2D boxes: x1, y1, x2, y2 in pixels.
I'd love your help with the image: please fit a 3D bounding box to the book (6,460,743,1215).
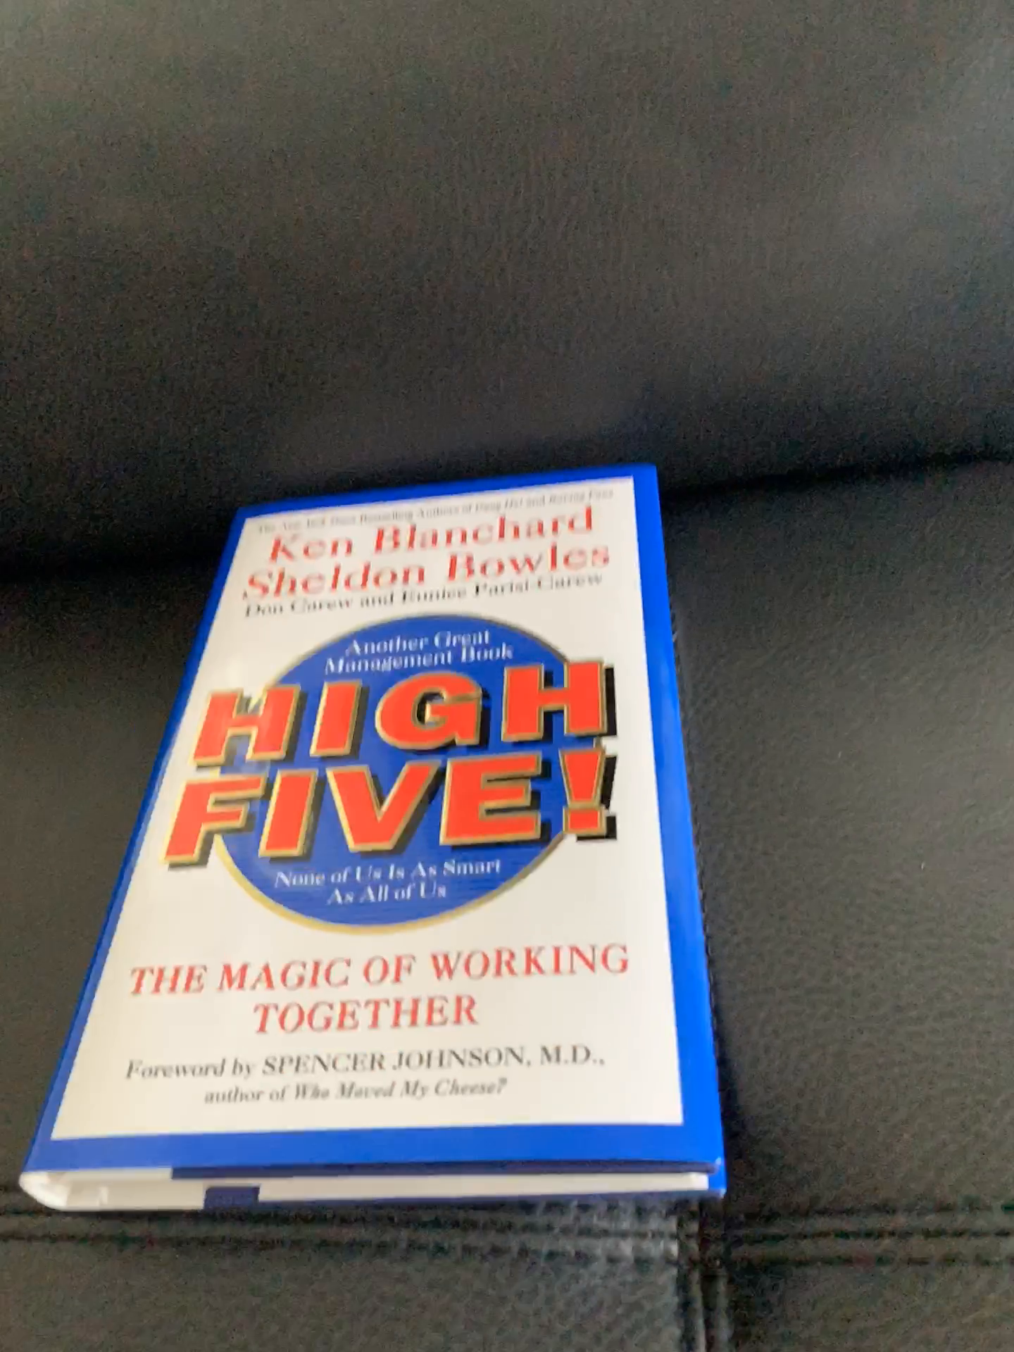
[{"bbox_3d":[-0.025,0.025,0.290,0.150,0.023,0.221,-4,48,7],"label":"book"}]
